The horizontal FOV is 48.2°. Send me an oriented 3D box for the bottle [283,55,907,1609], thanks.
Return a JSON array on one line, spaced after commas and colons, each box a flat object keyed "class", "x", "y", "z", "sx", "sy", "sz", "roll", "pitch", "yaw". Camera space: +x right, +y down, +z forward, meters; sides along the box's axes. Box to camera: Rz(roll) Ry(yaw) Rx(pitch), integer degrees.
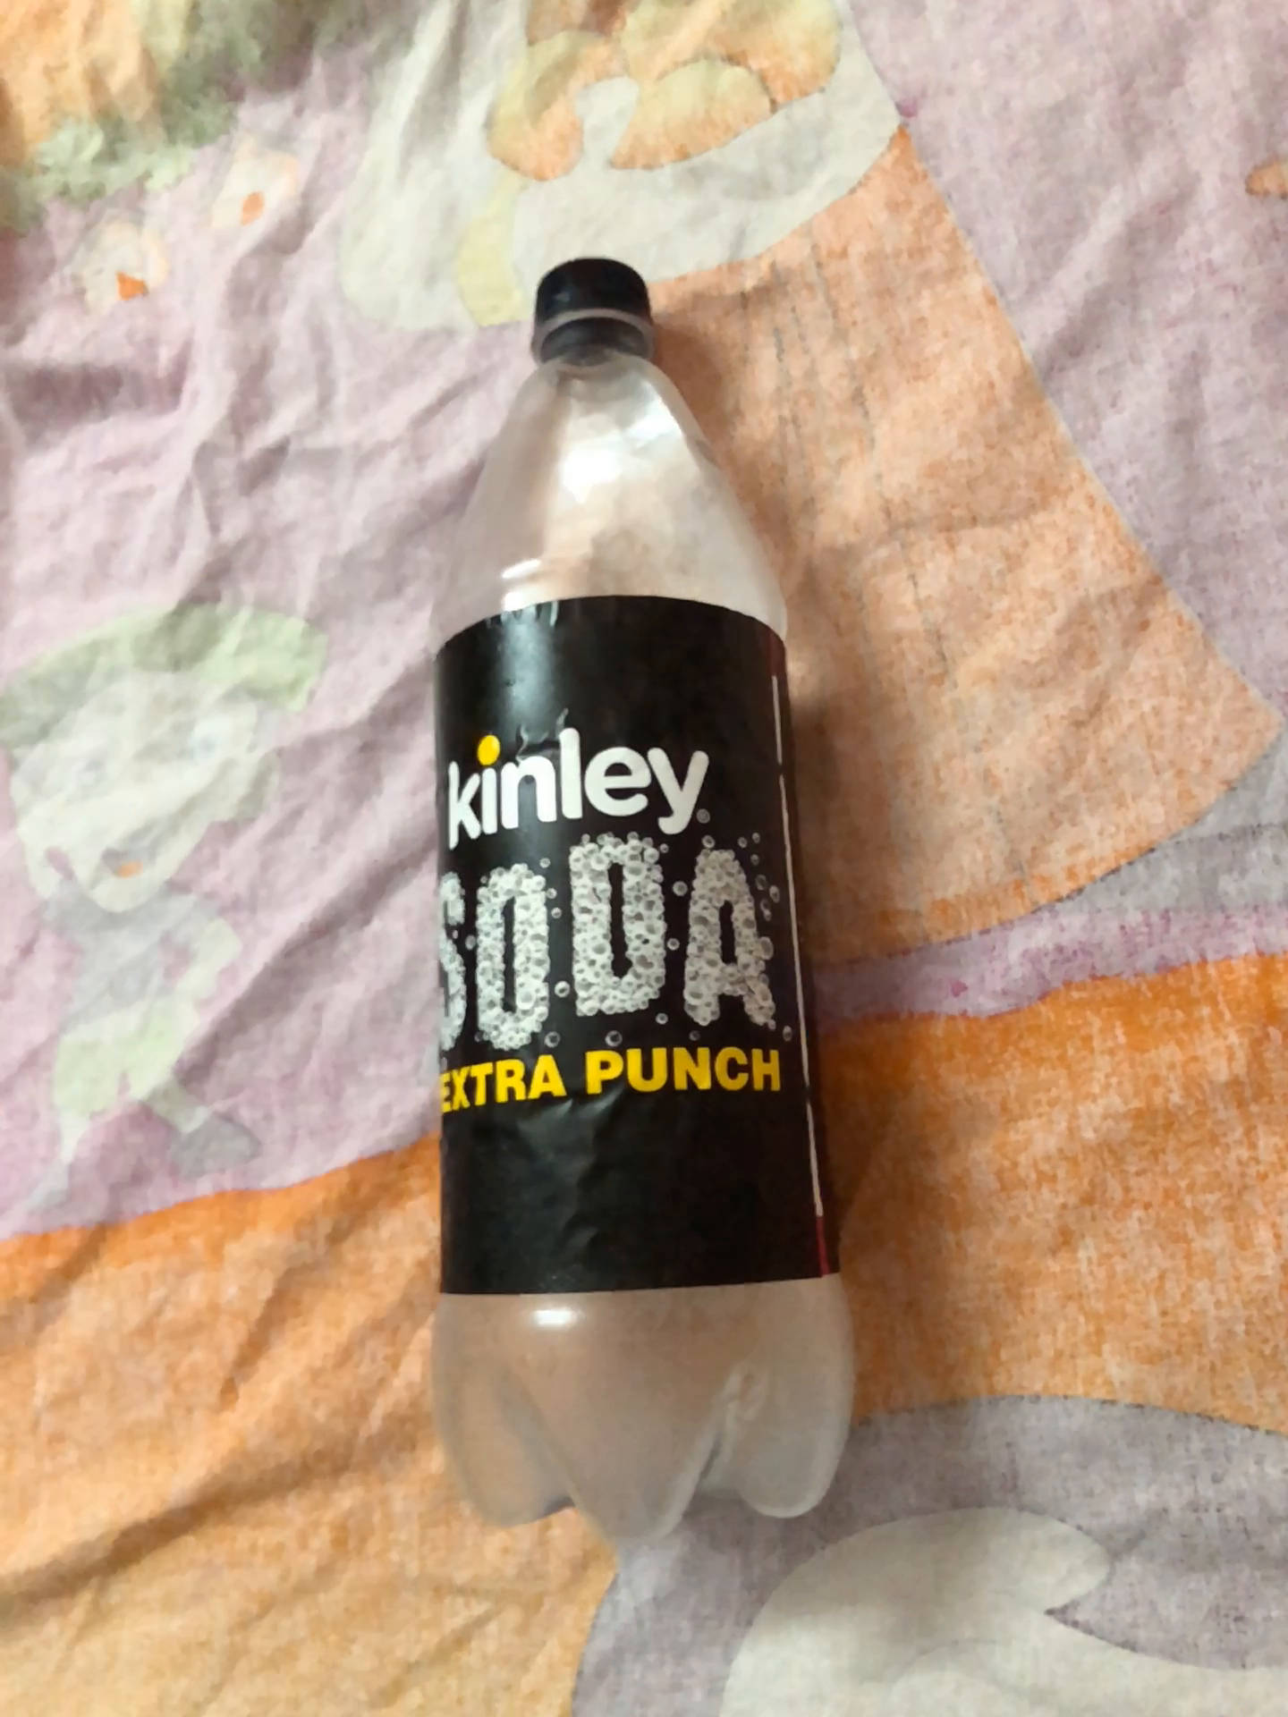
[{"class": "bottle", "x": -0.010, "y": -0.006, "z": 0.304, "sx": 0.090, "sy": 0.080, "sz": 0.280, "roll": -7, "pitch": 80, "yaw": 15}]
